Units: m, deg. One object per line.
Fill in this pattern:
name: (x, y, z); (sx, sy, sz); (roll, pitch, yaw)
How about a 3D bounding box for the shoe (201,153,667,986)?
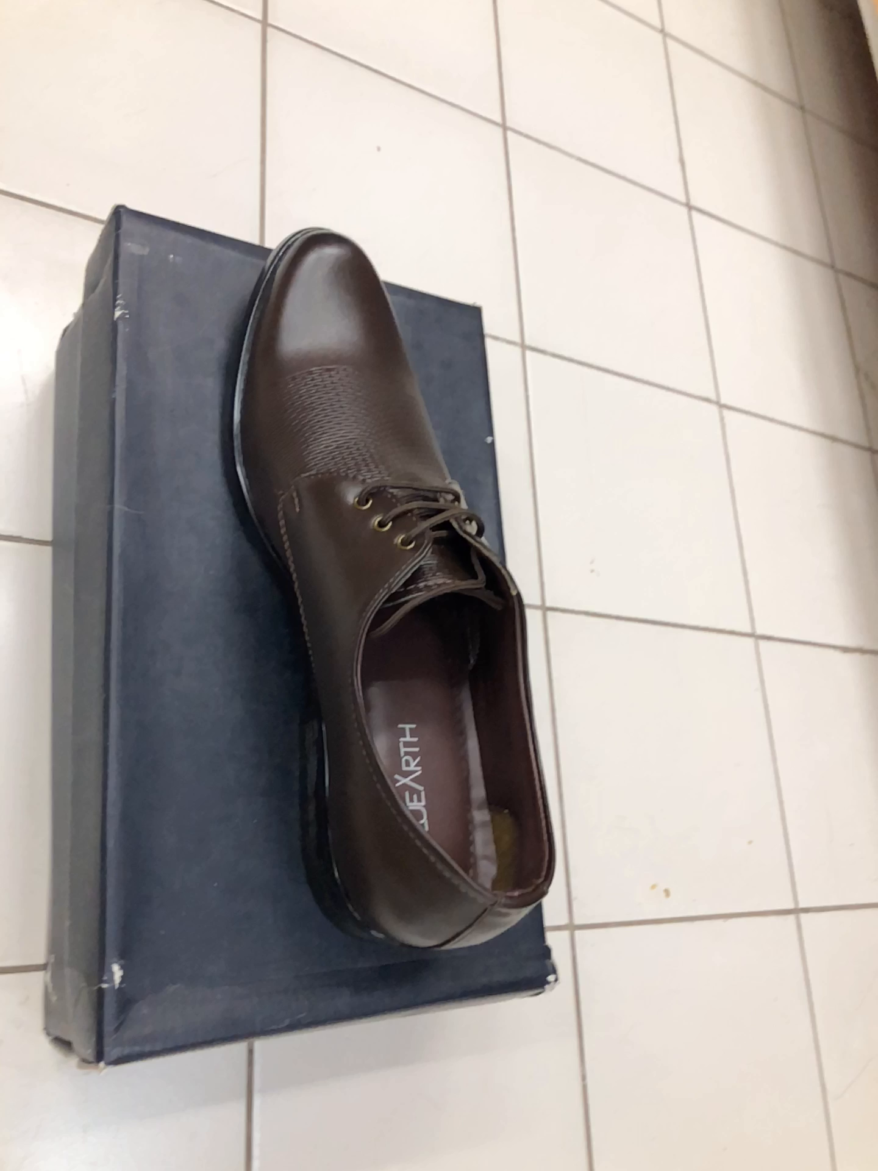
shoe: (-0.014, -0.005, 0.395); (0.104, 0.109, 0.290); (-1, 74, -33)
